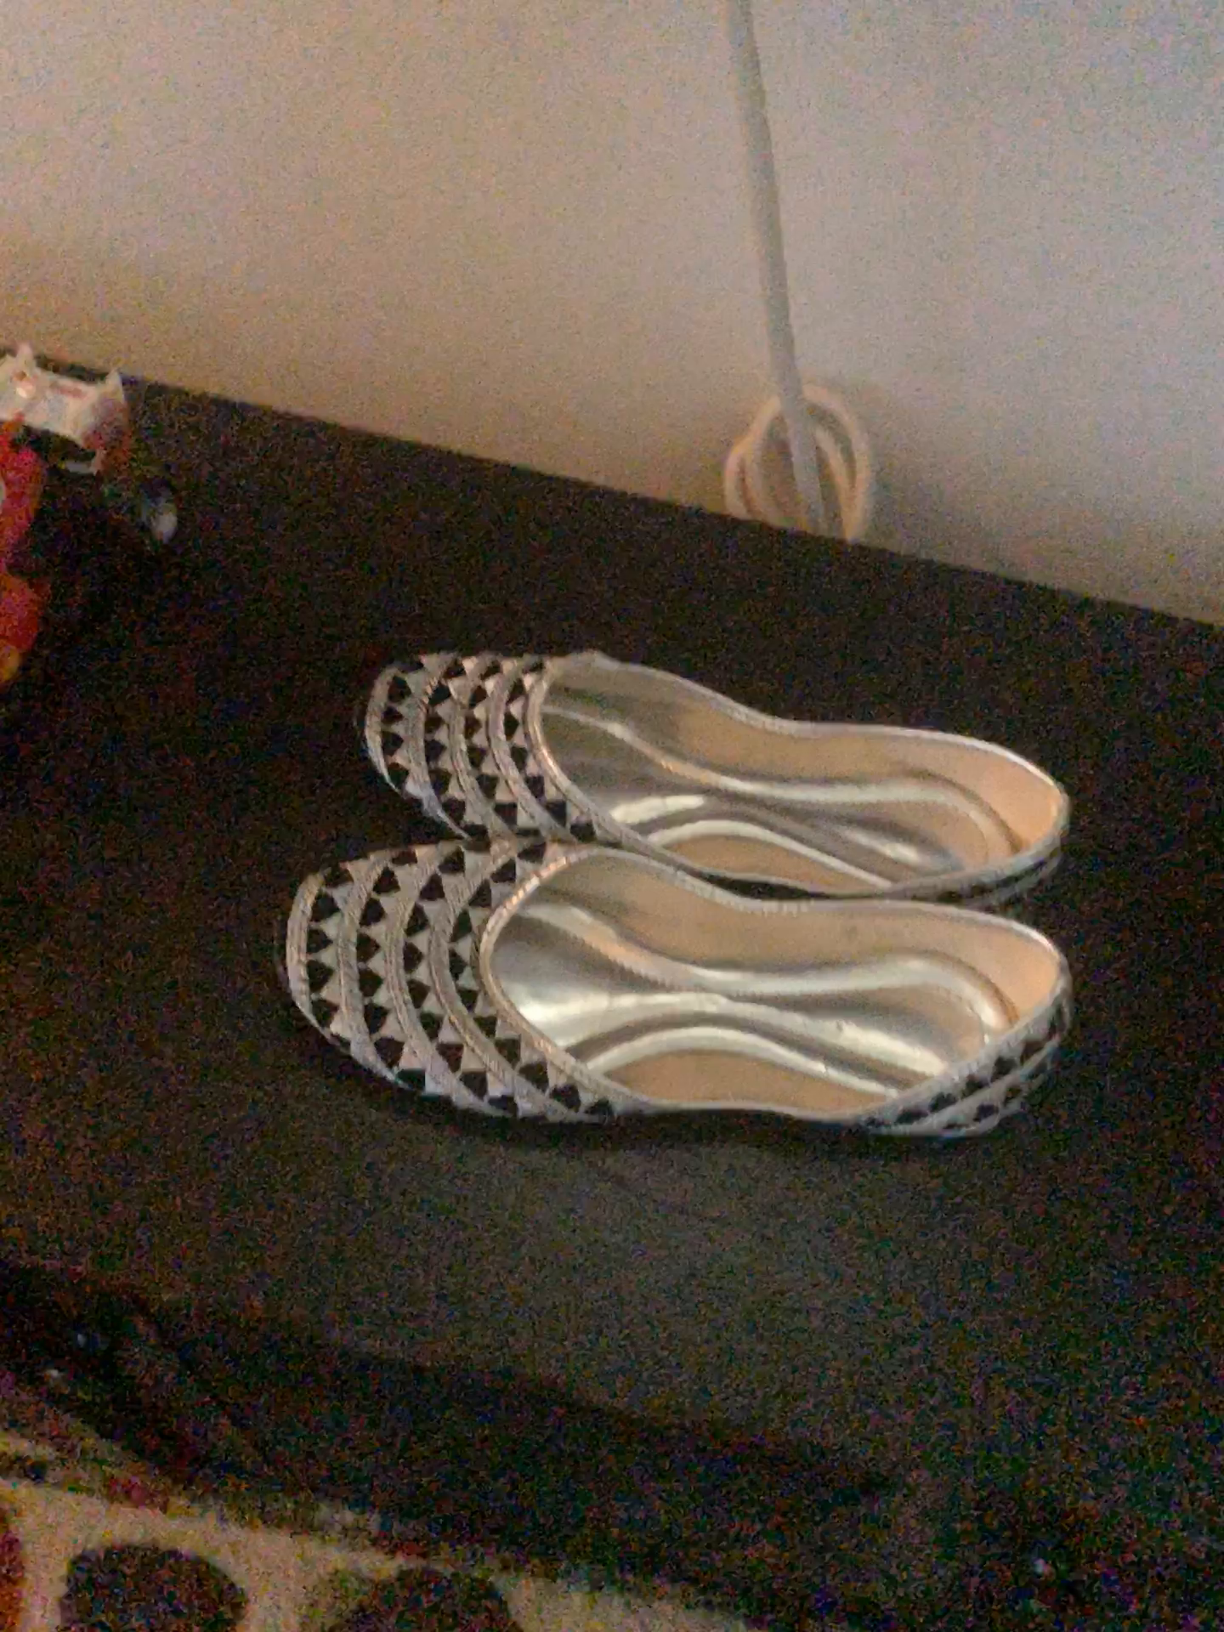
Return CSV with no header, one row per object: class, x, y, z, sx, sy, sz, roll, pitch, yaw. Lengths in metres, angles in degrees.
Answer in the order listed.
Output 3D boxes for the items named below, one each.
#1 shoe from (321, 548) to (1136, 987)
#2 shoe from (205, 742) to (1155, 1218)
shoe,0.041,-0.017,0.466,0.270,0.069,0.096,10,54,-2
shoe,0.022,0.054,0.408,0.270,0.069,0.096,8,54,-3
